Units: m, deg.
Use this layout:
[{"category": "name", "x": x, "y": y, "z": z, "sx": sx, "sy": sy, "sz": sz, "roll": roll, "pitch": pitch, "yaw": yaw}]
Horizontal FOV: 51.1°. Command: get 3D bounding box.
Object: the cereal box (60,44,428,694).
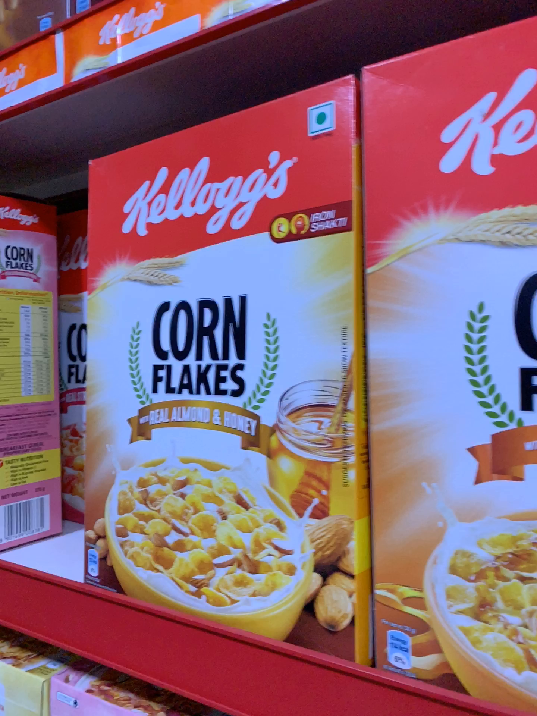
[{"category": "cereal box", "x": -0.021, "y": 0.004, "z": 0.273, "sx": 0.170, "sy": 0.230, "sz": 0.060, "roll": -2, "pitch": -1, "yaw": 36}]
